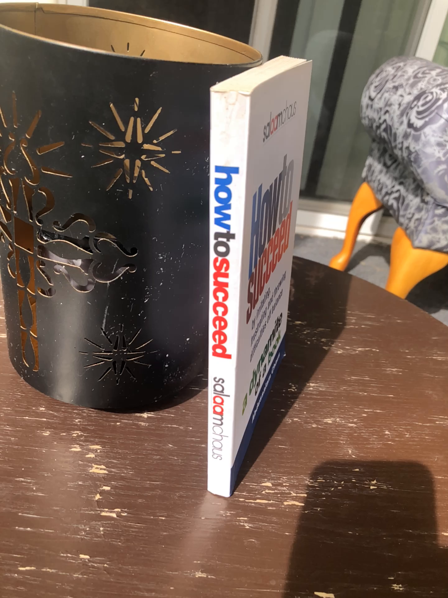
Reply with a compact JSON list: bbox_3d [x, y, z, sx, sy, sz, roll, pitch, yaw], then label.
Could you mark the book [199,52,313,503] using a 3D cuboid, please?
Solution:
[{"bbox_3d":[0.018,-0.016,0.275,0.018,0.207,0.139,10,31,14],"label":"book"}]
